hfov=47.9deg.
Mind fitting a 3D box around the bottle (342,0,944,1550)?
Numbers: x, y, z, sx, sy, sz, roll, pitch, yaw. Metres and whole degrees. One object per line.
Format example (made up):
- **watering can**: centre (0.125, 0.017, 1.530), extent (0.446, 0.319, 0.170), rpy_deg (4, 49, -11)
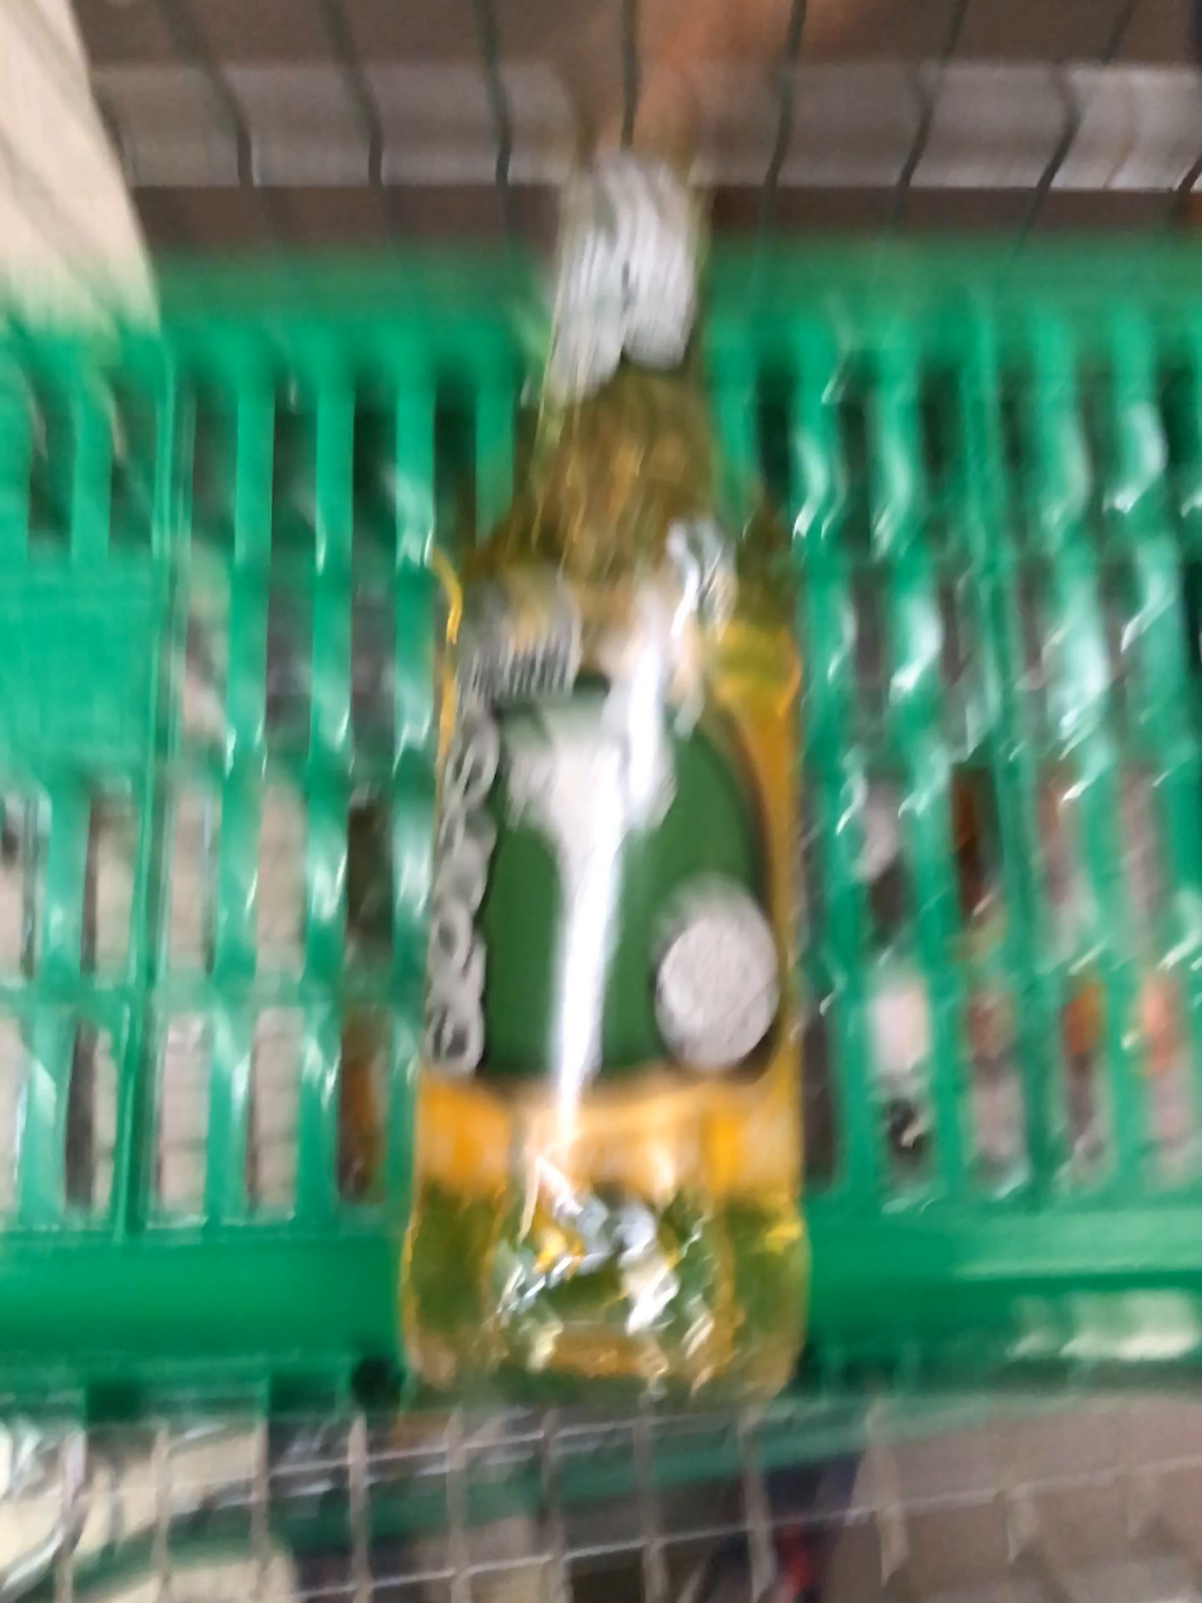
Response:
- **bottle**: centre (0.007, -0.015, 0.209), extent (0.070, 0.060, 0.220), rpy_deg (1, 78, -1)
